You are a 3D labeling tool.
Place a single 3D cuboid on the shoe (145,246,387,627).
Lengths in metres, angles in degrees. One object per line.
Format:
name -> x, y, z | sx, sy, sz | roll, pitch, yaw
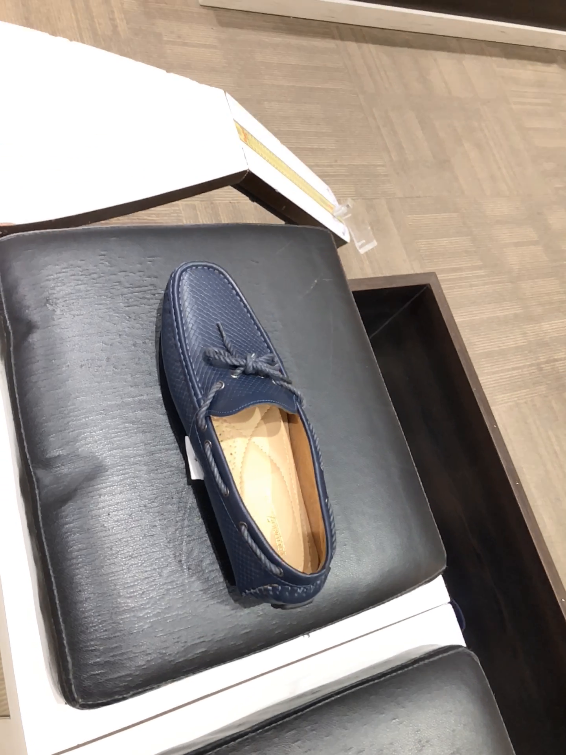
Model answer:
shoe -> -0.023, 0.038, 0.485 | 0.100, 0.080, 0.270 | -9, 72, -25
